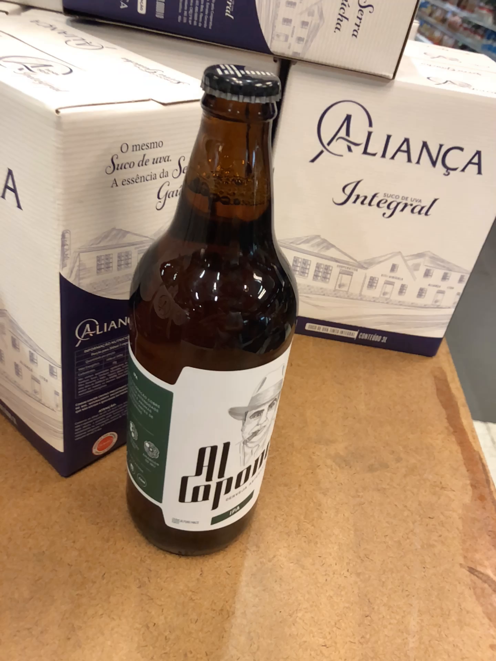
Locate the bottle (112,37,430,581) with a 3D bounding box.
[{"bbox_3d":[-0.008,0.003,0.250,0.080,0.228,0.070,-18,44,-34],"label":"bottle"}]
